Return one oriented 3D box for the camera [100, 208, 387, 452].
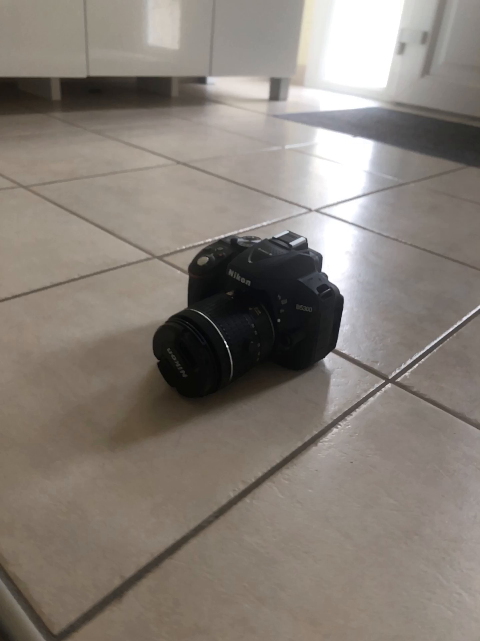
[{"bbox_3d":[0.003,-0.008,0.416,0.140,0.089,0.161,29,39,35],"label":"camera"}]
